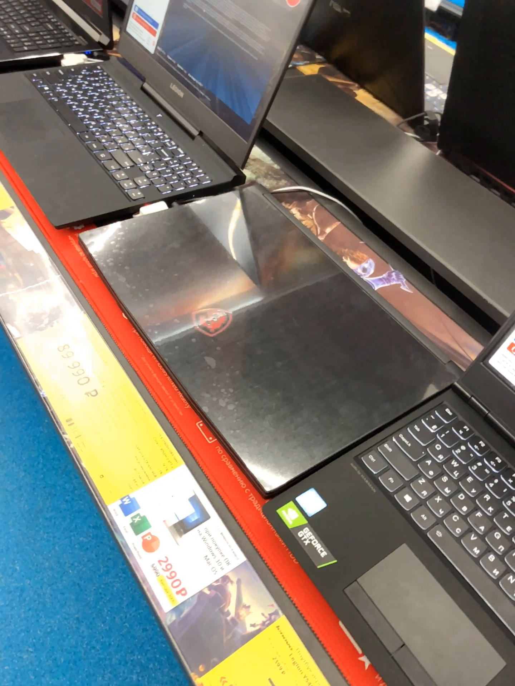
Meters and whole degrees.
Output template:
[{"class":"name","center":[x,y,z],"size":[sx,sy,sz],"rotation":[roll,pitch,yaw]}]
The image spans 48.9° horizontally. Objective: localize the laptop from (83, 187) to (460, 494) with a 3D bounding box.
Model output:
[{"class":"laptop","center":[0.005,-0.042,0.588],"size":[0.239,0.002,0.354],"rotation":[-23,56,-28]}]
